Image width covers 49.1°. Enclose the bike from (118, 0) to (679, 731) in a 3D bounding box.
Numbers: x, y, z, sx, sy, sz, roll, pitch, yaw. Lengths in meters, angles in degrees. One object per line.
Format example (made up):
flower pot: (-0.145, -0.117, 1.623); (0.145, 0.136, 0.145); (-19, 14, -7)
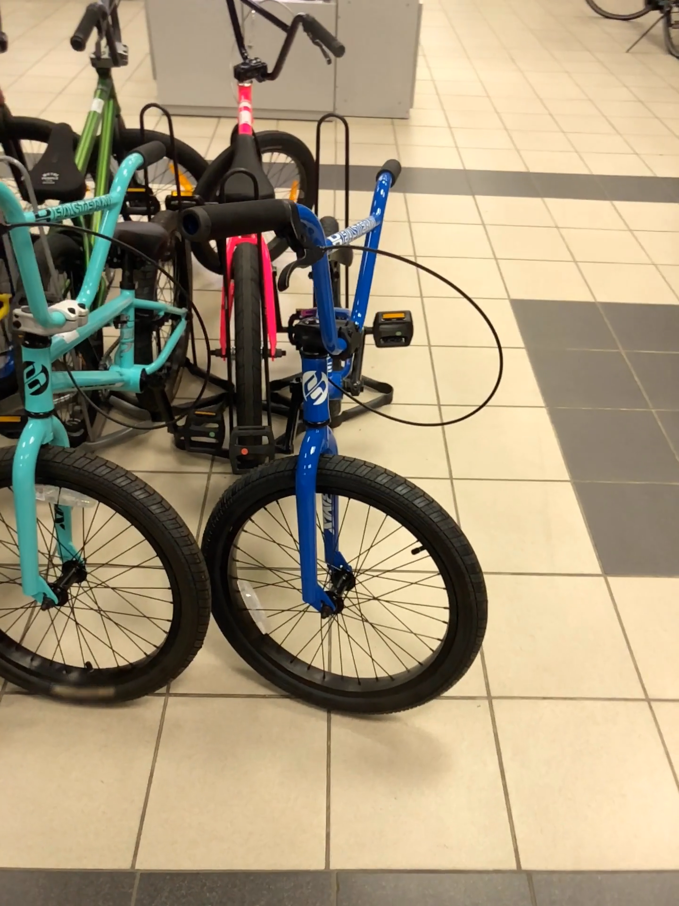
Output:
bike: (0.061, -0.275, 1.512); (0.821, 0.961, 1.263); (-4, 40, -8)
